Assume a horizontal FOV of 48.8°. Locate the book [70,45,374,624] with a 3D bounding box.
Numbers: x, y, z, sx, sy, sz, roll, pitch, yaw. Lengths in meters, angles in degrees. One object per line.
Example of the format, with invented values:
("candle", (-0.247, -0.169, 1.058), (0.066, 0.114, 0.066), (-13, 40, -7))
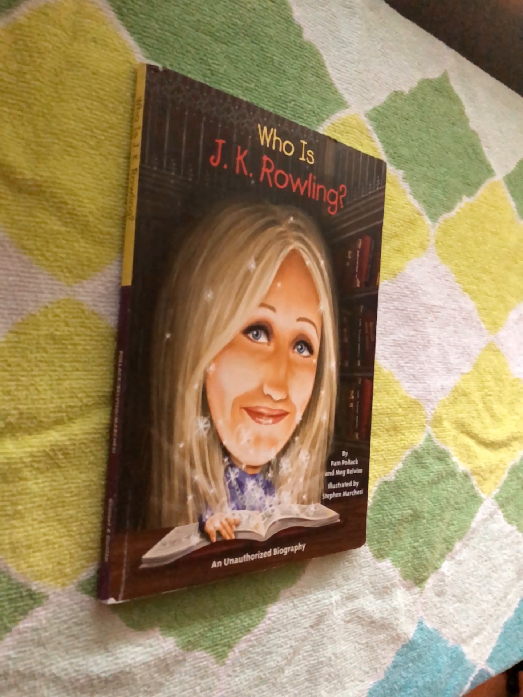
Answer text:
("book", (-0.005, -0.002, 0.230), (0.126, 0.012, 0.187), (5, 86, -39))
